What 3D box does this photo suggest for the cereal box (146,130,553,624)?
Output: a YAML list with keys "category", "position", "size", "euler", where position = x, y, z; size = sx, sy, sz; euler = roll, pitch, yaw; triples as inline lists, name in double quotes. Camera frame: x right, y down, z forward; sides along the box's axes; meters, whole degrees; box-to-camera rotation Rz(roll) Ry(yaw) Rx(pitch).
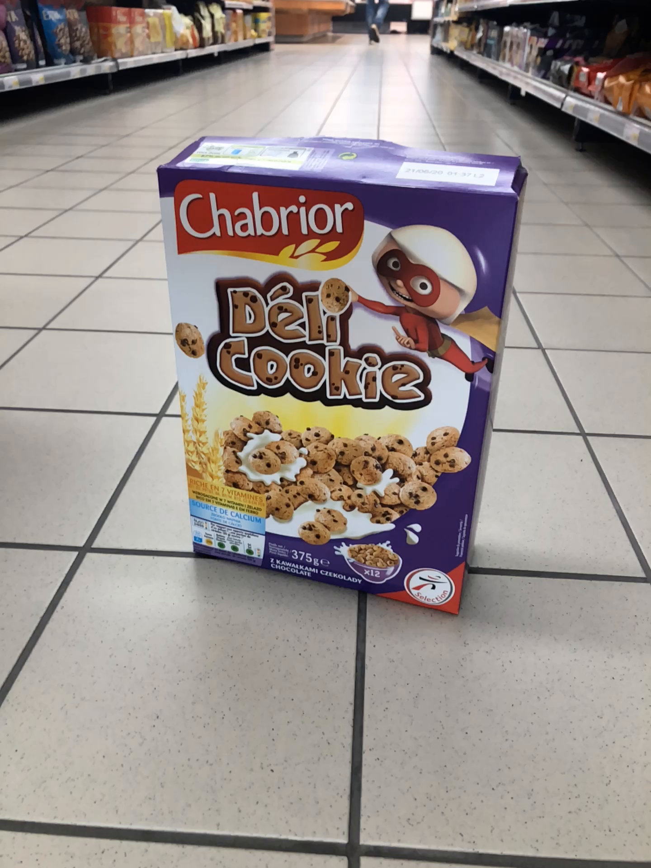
- category: "cereal box"
  position: [0.013, -0.033, 0.443]
  size: [0.200, 0.268, 0.081]
  euler: [10, 31, 15]
